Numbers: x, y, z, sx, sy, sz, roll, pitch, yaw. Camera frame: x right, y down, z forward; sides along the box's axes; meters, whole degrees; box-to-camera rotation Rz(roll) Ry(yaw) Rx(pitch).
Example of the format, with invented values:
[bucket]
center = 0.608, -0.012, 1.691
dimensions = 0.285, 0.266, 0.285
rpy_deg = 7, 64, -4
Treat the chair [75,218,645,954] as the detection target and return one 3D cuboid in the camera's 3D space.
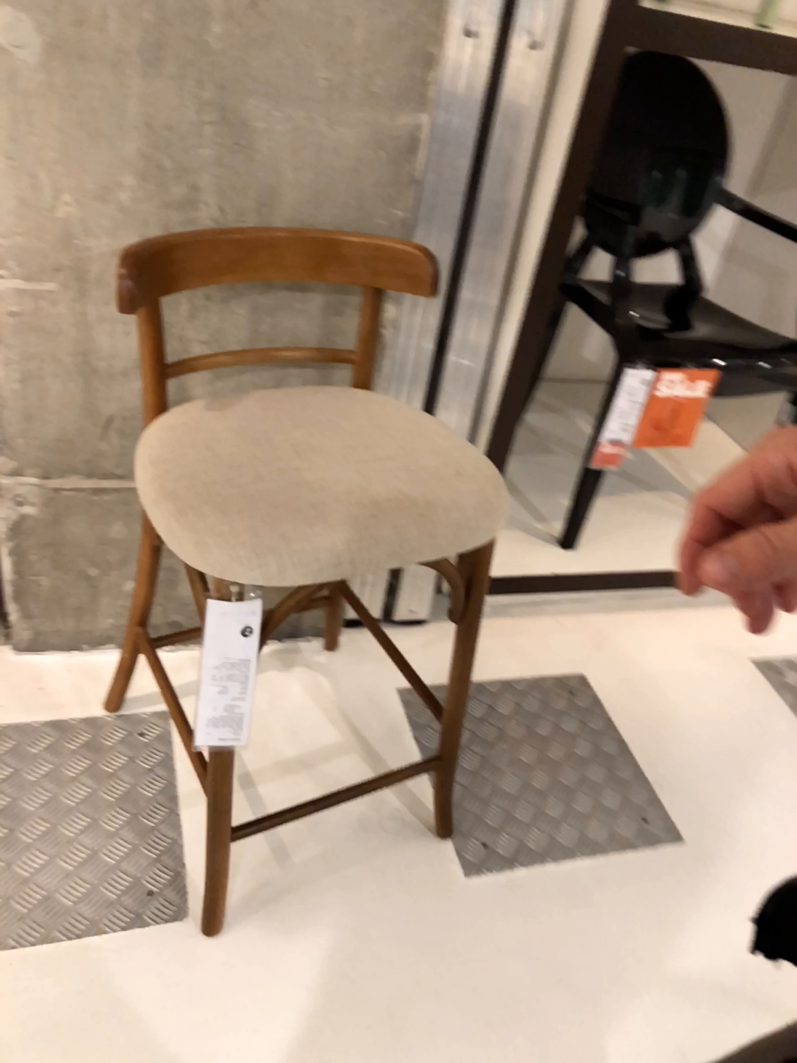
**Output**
[chair]
center = -0.126, 0.055, 1.228
dimensions = 0.491, 0.813, 0.482
rpy_deg = -11, 40, -30
